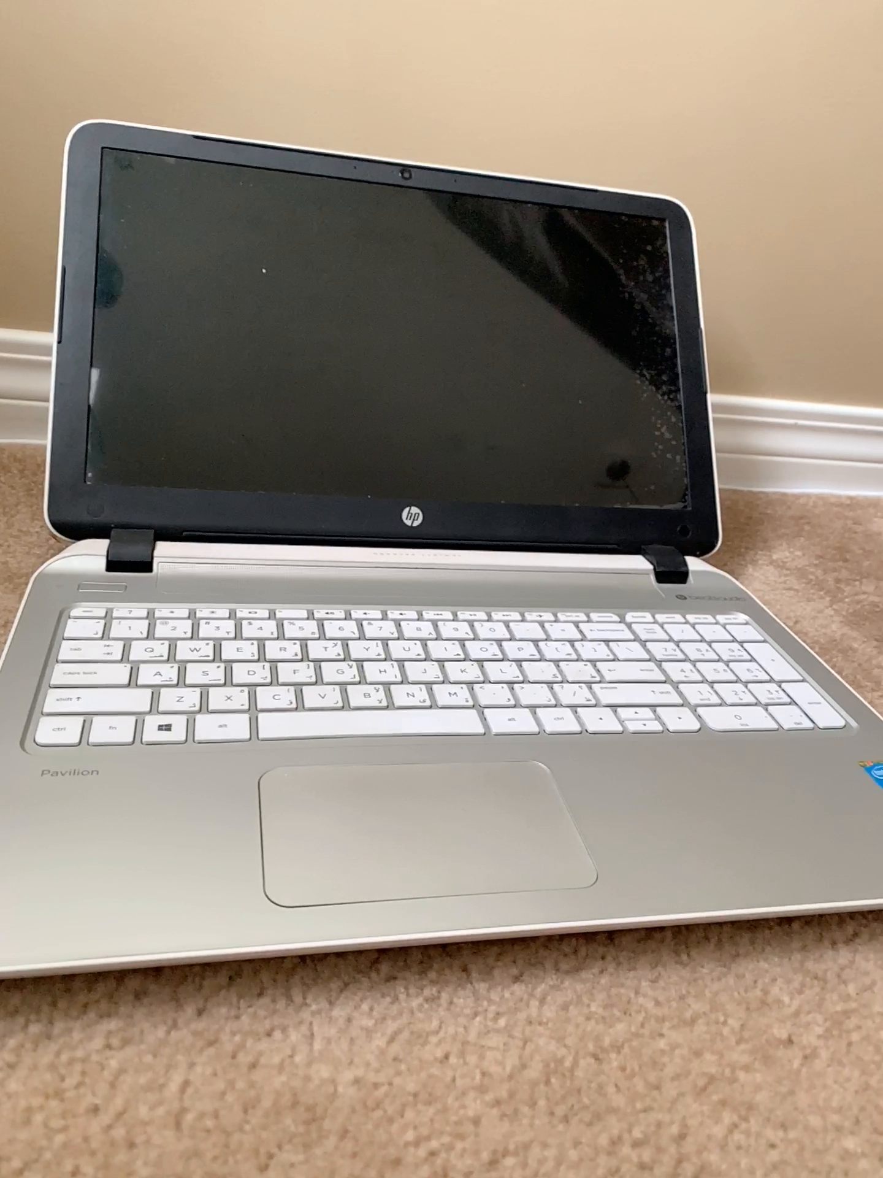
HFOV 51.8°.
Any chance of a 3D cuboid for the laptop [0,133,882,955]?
[{"bbox_3d":[0.010,-0.065,0.393,0.349,0.187,0.351,1,28,-13],"label":"laptop"}]
